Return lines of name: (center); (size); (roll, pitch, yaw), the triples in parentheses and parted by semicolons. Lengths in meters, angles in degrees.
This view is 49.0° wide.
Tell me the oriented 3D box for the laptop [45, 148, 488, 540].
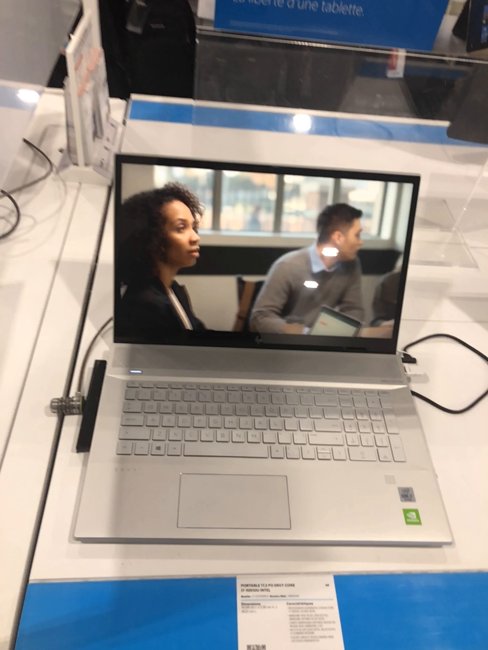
laptop: (0.030, 0.006, 0.621); (0.390, 0.199, 0.399); (3, 46, -6)
